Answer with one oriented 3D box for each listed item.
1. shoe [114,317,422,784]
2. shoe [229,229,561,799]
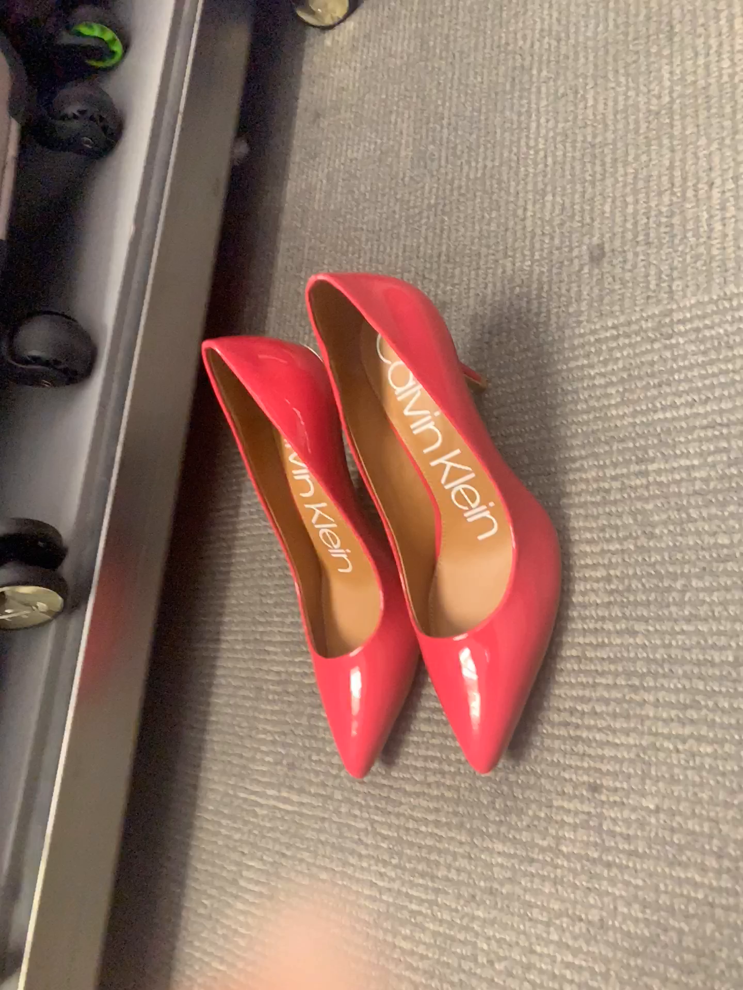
[{"bbox_3d":[-0.047,0.037,0.398,0.075,0.130,0.208,-17,66,39],"label":"shoe"},{"bbox_3d":[0.012,0.016,0.341,0.074,0.120,0.216,-17,66,39],"label":"shoe"}]
